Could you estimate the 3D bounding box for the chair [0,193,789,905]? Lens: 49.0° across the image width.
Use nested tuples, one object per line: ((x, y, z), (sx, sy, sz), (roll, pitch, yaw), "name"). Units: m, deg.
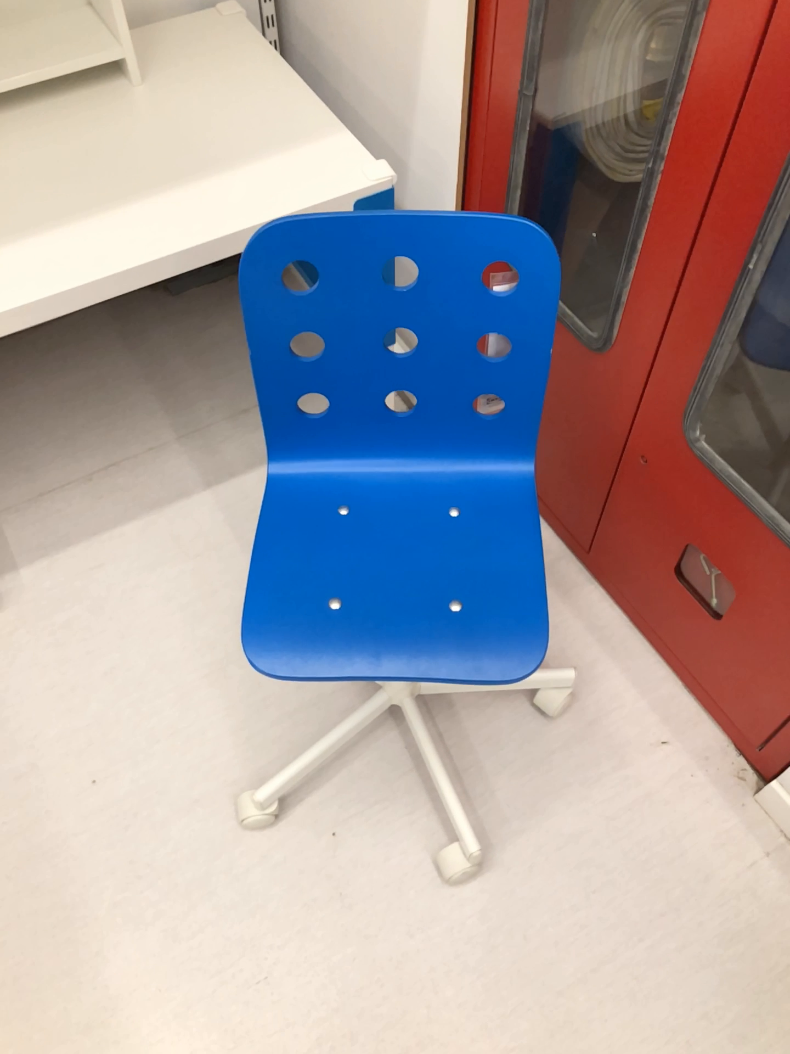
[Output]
((0.018, 0.084, 0.963), (0.550, 0.686, 0.493), (-1, 56, 0), "chair")
